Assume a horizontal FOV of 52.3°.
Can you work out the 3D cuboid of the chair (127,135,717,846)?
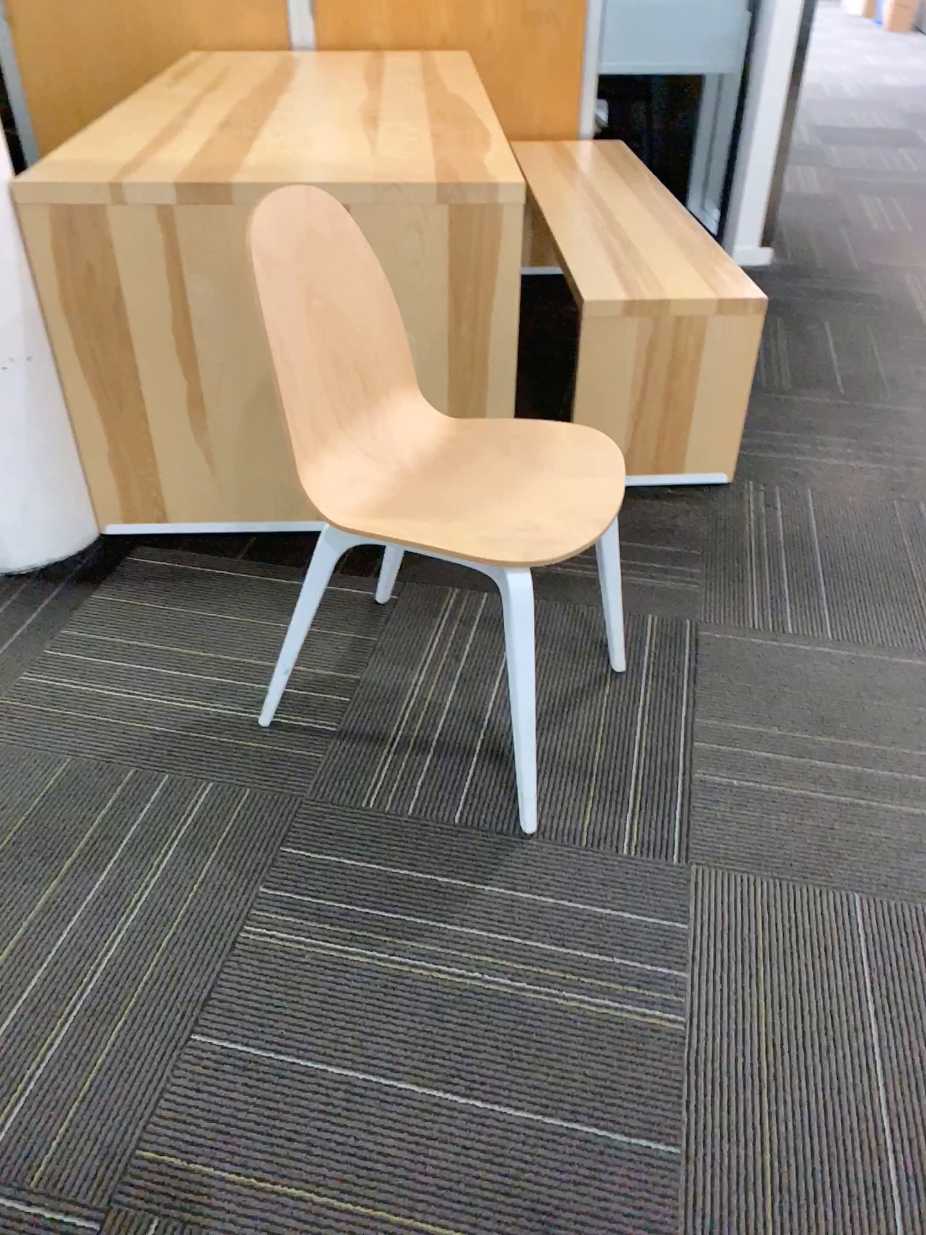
[{"bbox_3d":[-0.021,-0.212,1.439,0.561,0.815,0.553,16,40,19],"label":"chair"}]
